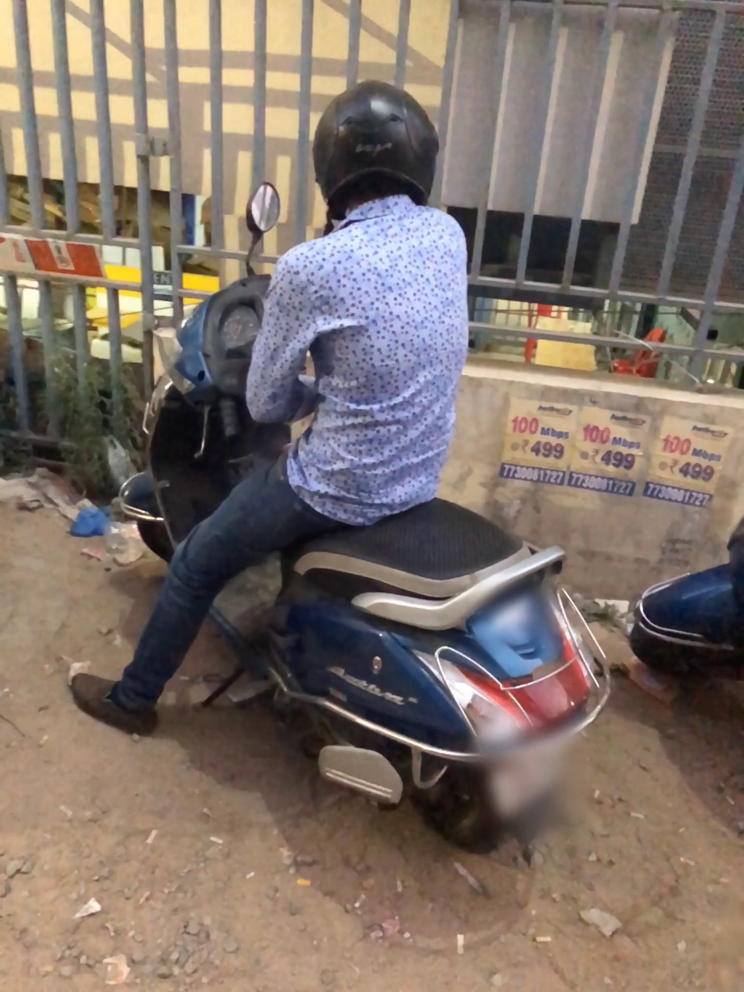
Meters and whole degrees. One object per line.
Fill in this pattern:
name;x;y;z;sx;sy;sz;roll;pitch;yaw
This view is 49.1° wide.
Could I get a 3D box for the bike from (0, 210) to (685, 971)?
bike;-0.209;0.058;1.996;1.472;1.131;0.618;28;33;35
